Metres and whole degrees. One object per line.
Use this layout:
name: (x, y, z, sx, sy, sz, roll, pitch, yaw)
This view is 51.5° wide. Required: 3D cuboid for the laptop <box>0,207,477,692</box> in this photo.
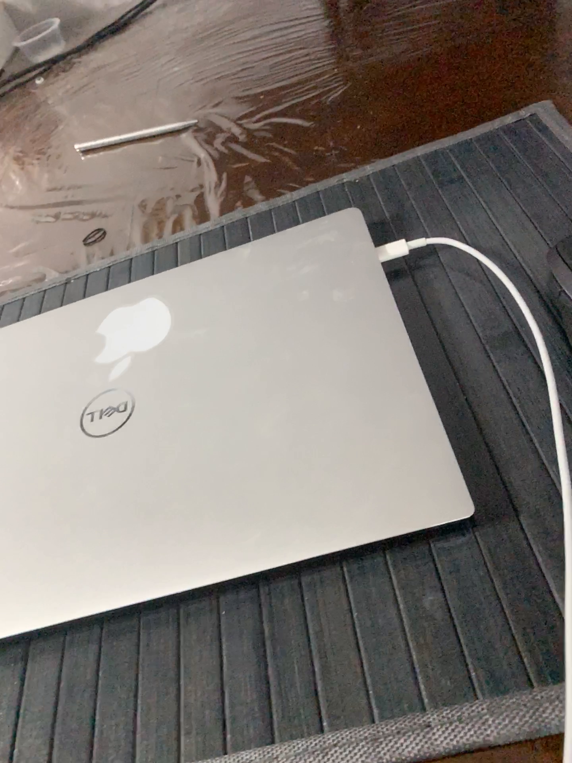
laptop: (-0.077, 0.014, 0.278, 0.271, 0.001, 0.189, -17, 47, 8)
